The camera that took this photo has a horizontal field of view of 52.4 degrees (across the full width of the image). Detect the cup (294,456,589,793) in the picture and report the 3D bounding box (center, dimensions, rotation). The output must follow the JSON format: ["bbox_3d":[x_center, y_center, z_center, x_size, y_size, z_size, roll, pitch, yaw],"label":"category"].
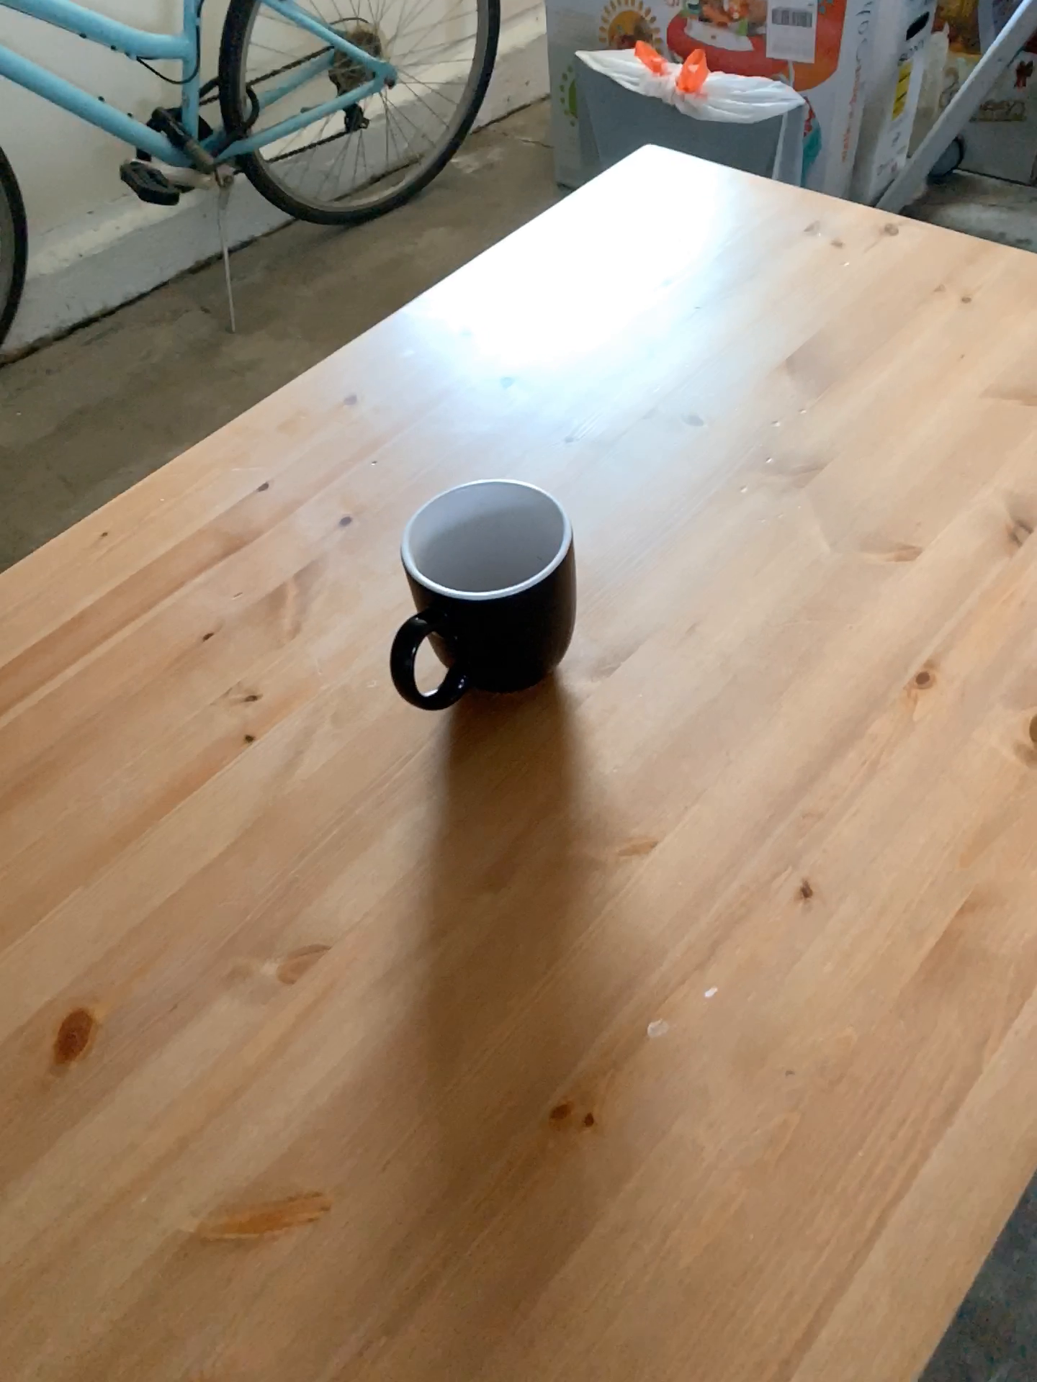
[{"bbox_3d":[-0.038,-0.041,0.627,0.100,0.110,0.140,22,58,22],"label":"cup"}]
